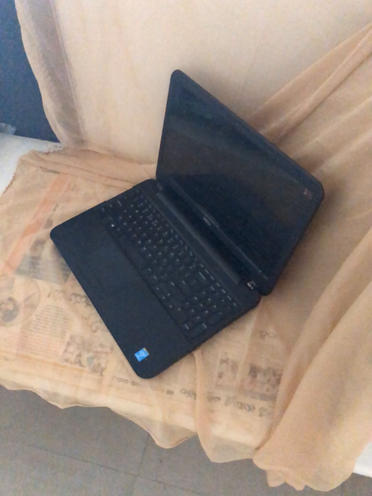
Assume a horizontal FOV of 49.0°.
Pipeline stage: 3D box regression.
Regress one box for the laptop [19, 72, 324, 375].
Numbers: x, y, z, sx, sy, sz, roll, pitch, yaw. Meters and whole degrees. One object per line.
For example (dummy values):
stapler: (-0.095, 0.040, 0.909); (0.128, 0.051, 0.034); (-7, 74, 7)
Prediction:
laptop: (-0.036, -0.056, 0.687); (0.306, 0.226, 0.349); (-30, 59, -19)
